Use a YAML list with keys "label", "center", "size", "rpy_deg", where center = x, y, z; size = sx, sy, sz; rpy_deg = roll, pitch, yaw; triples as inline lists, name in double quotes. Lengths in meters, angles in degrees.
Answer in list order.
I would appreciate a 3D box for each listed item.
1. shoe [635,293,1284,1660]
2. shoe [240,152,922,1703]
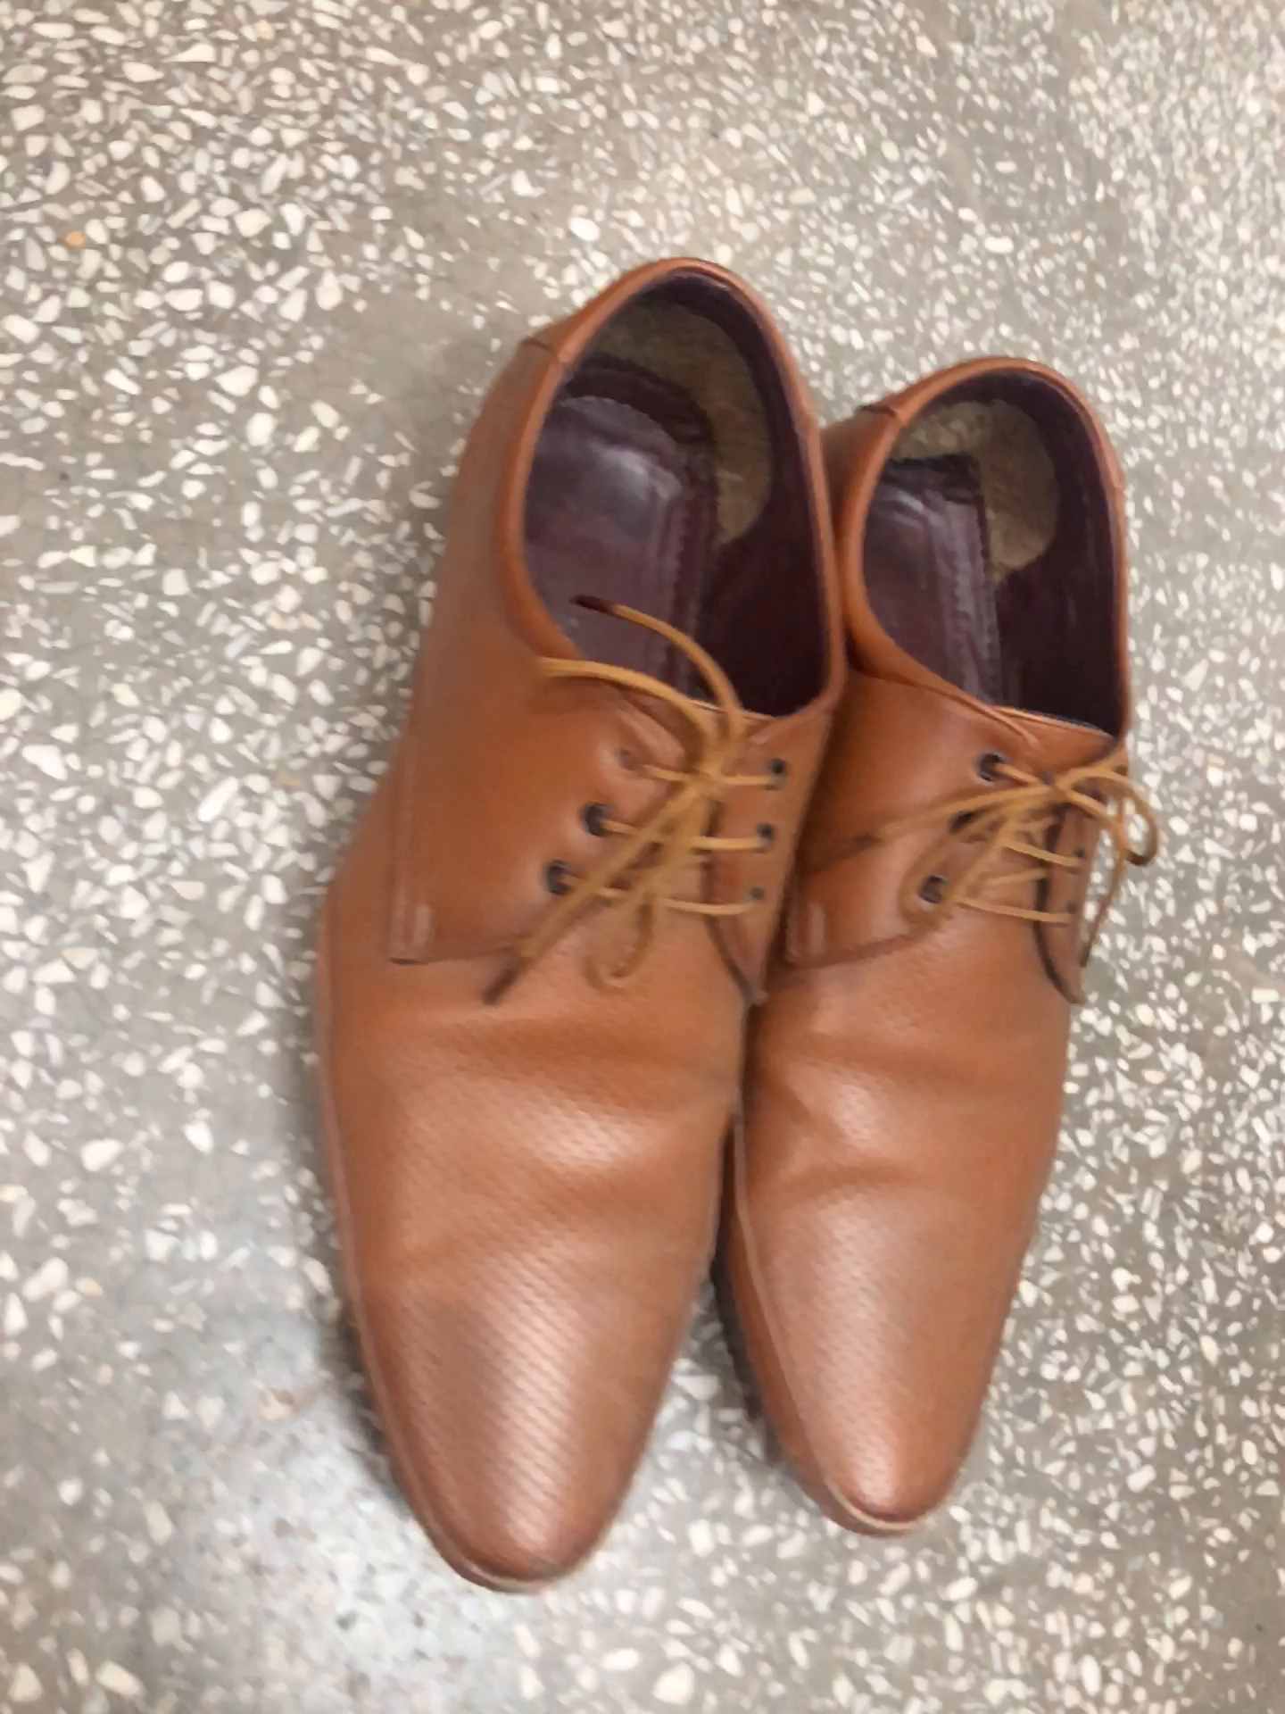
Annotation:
- label: "shoe"
  center: [0.077, 0.028, 0.367]
  size: [0.106, 0.118, 0.284]
  rpy_deg: [8, 76, -20]
- label: "shoe"
  center: [-0.015, 0.014, 0.330]
  size: [0.106, 0.118, 0.284]
  rpy_deg: [8, 76, -20]
